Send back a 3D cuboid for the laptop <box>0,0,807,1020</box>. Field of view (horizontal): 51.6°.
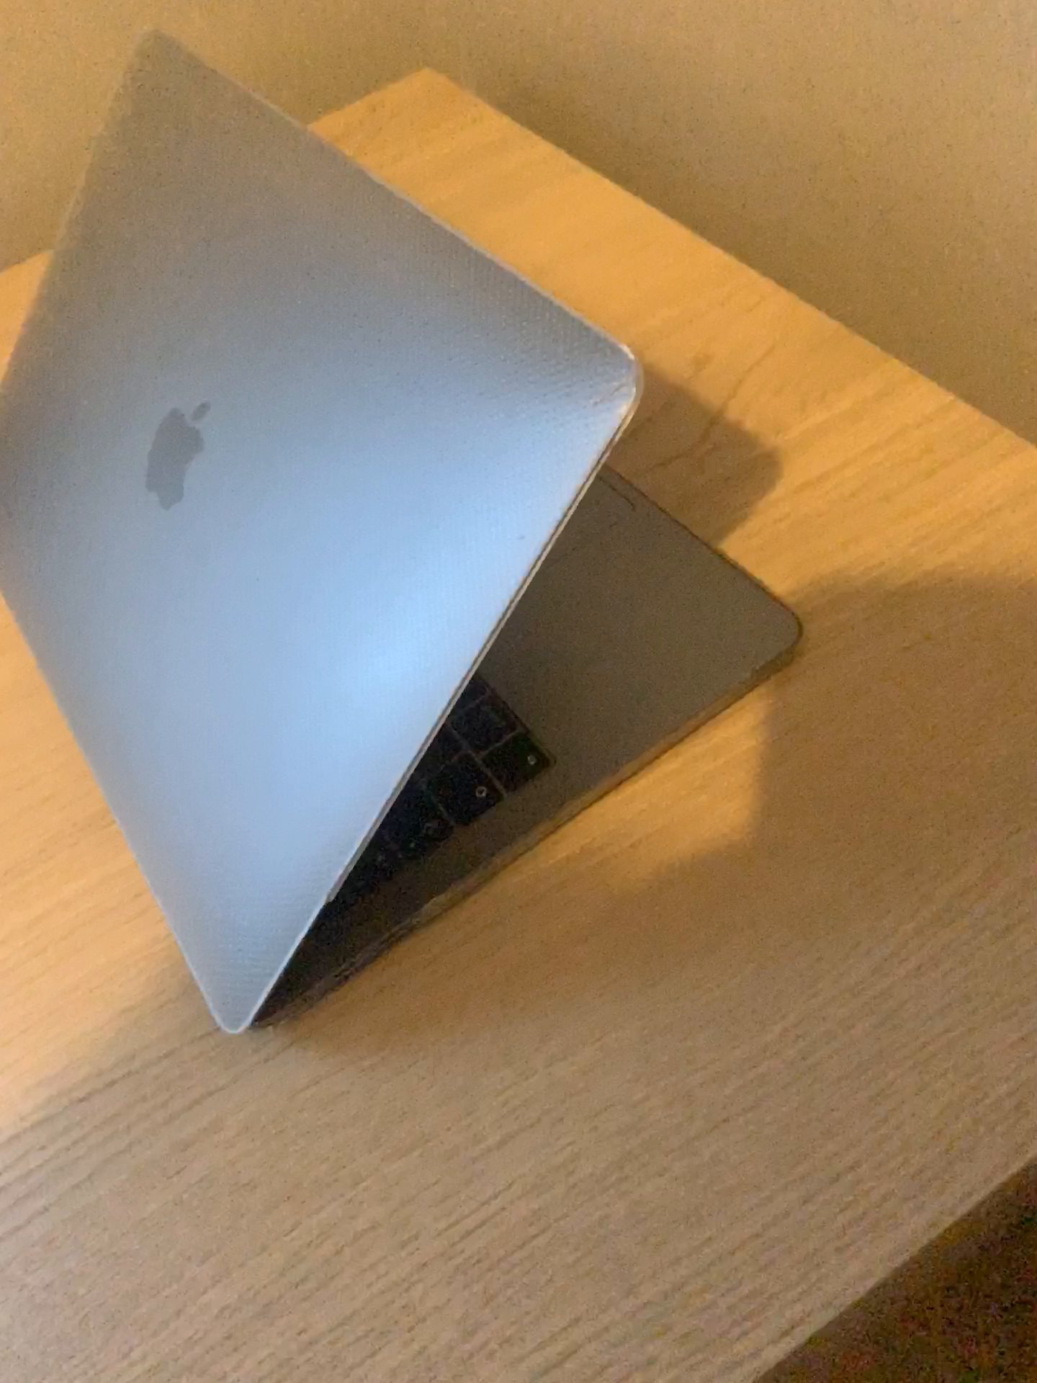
[{"bbox_3d":[-0.089,-0.094,0.364,0.207,0.127,0.310,-33,53,-14],"label":"laptop"}]
